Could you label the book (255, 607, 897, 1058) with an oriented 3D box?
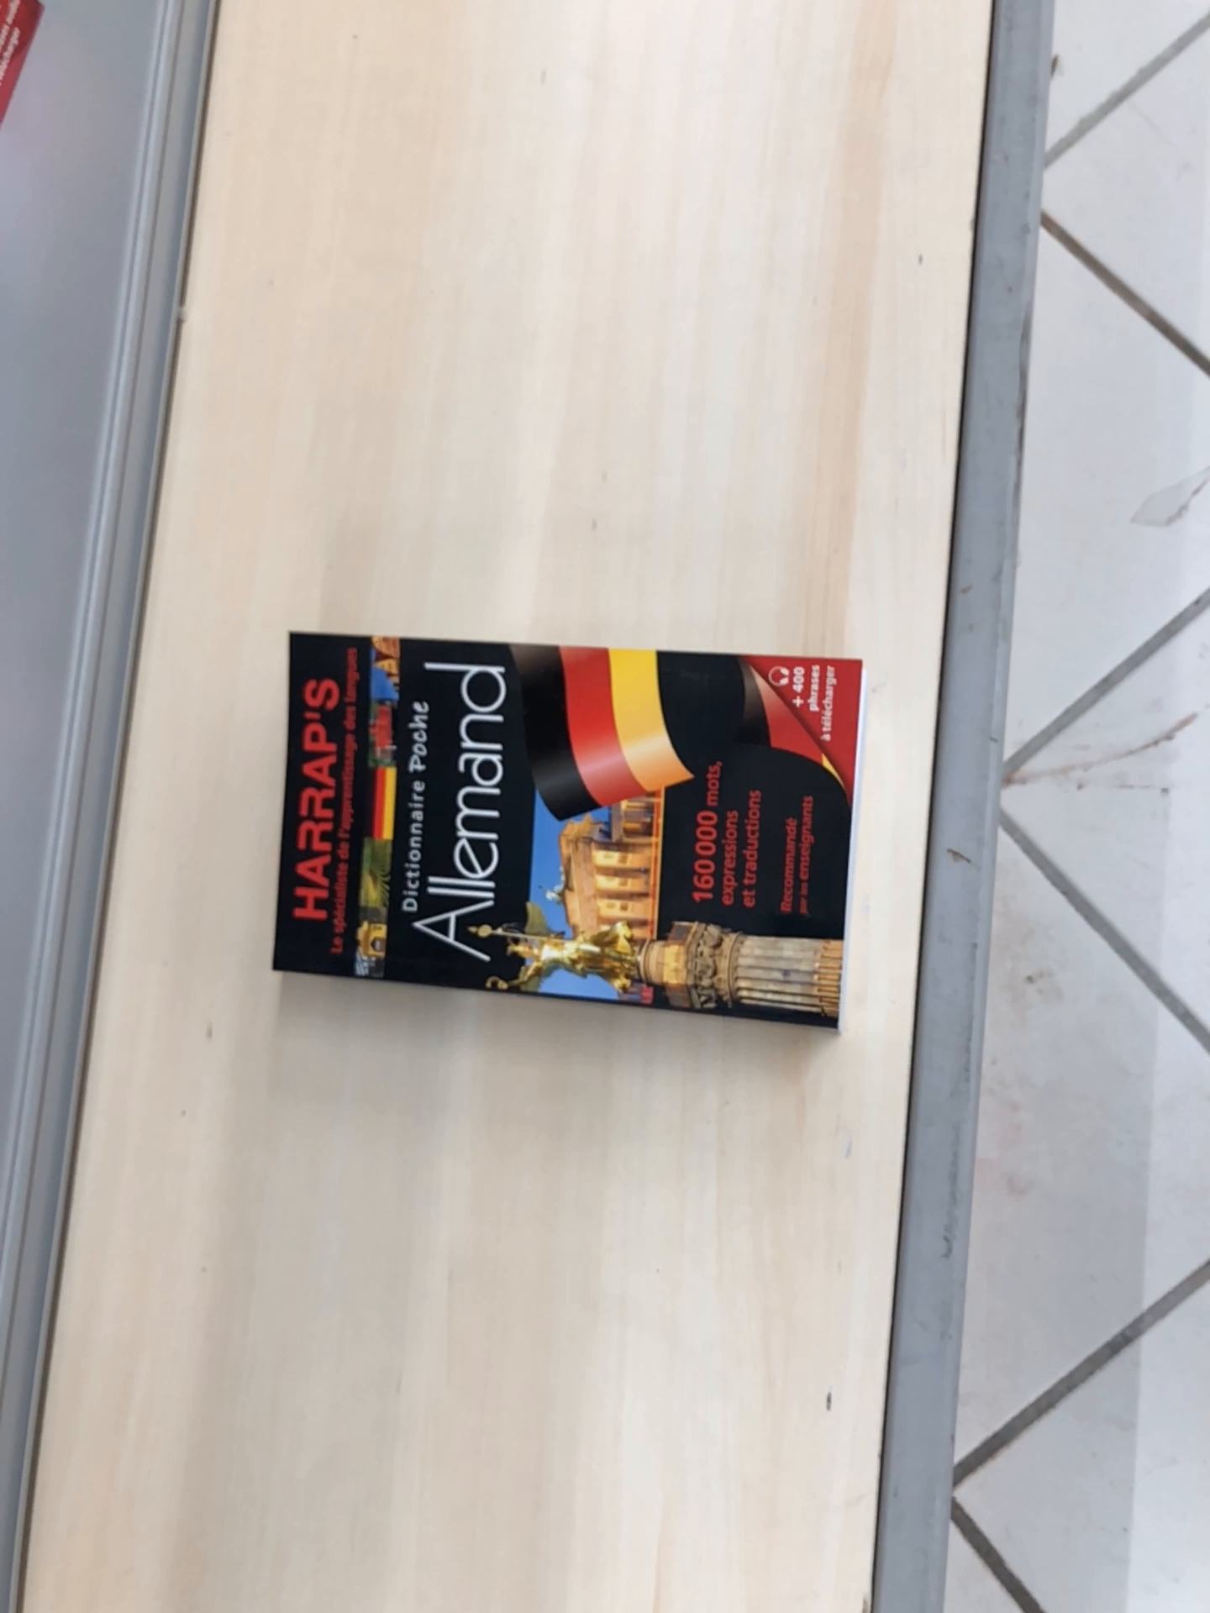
[{"bbox_3d":[-0.005,0.008,0.416,0.180,0.060,0.122,3,81,12],"label":"book"}]
